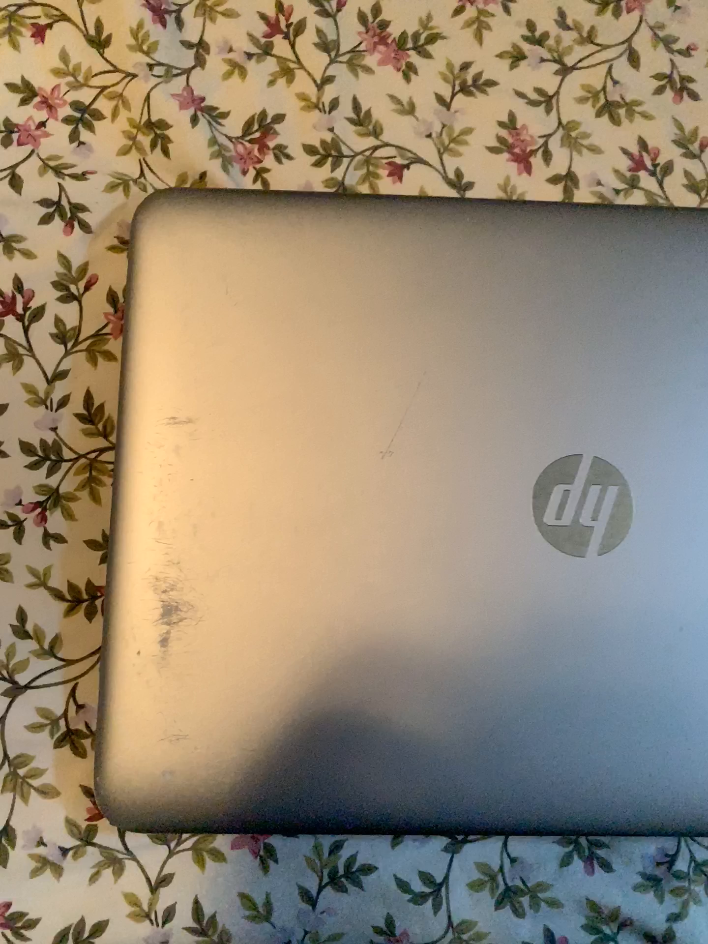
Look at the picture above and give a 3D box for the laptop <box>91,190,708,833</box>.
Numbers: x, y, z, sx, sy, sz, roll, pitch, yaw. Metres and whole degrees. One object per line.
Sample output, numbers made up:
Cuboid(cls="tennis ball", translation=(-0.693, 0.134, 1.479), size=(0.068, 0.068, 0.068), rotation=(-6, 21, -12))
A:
Cuboid(cls="laptop", translation=(0.084, 0.010, 0.271), size=(0.336, 0.010, 0.228), rotation=(1, 81, -3))
